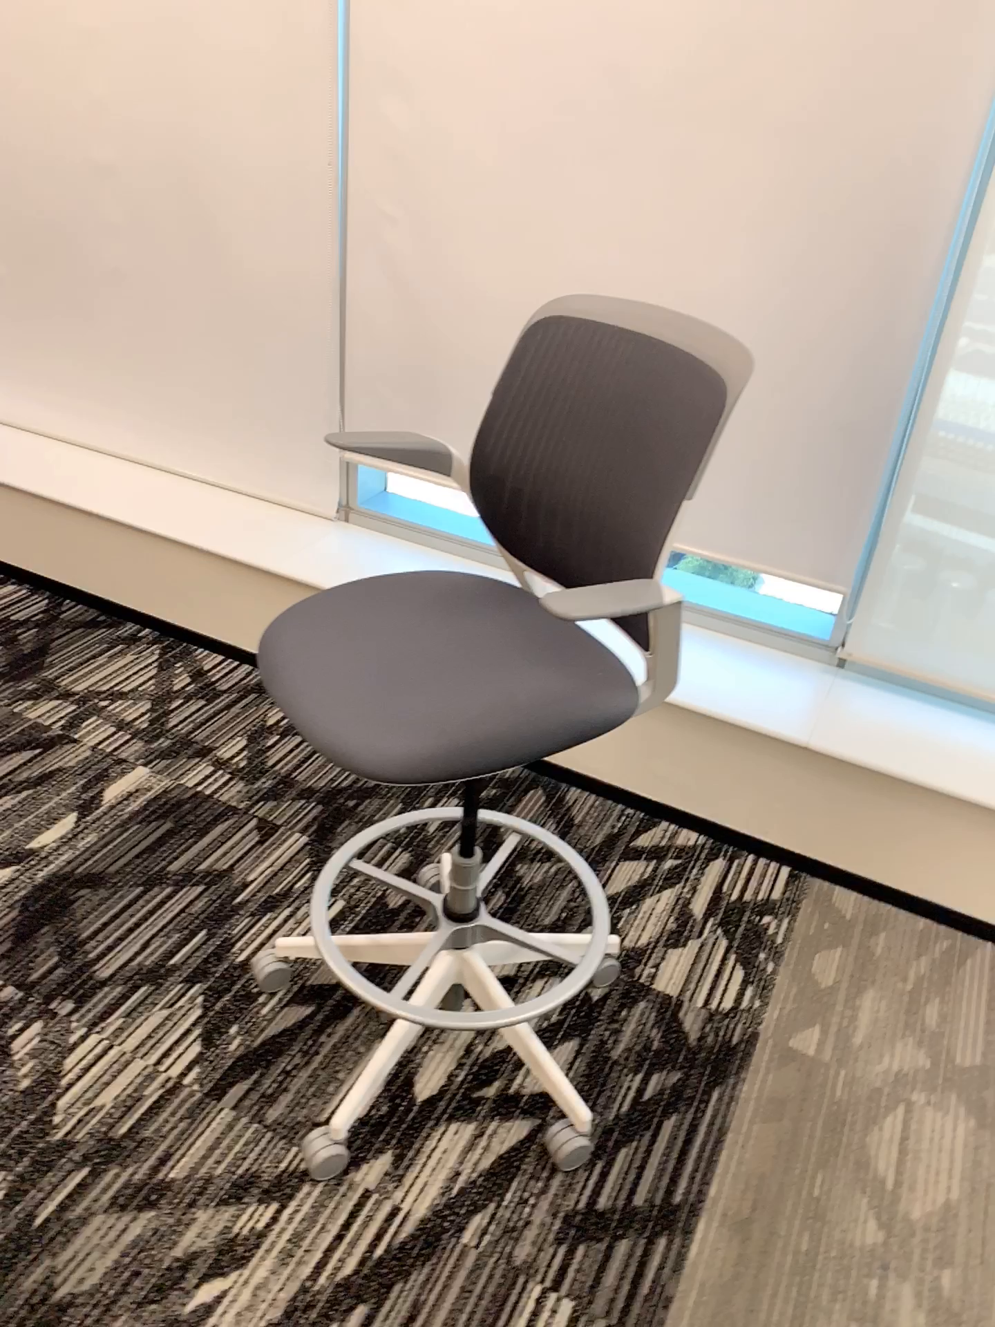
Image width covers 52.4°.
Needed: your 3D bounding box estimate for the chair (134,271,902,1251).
[{"bbox_3d":[-0.065,0.085,1.508,0.691,1.140,0.695,-11,34,-26],"label":"chair"}]
